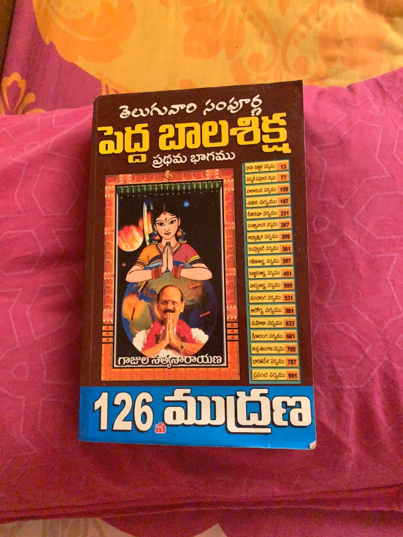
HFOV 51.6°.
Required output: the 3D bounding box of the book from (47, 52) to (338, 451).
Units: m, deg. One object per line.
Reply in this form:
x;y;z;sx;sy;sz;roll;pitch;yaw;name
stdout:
-0.006;-0.016;0.302;0.180;0.050;0.260;-1;80;8;book
